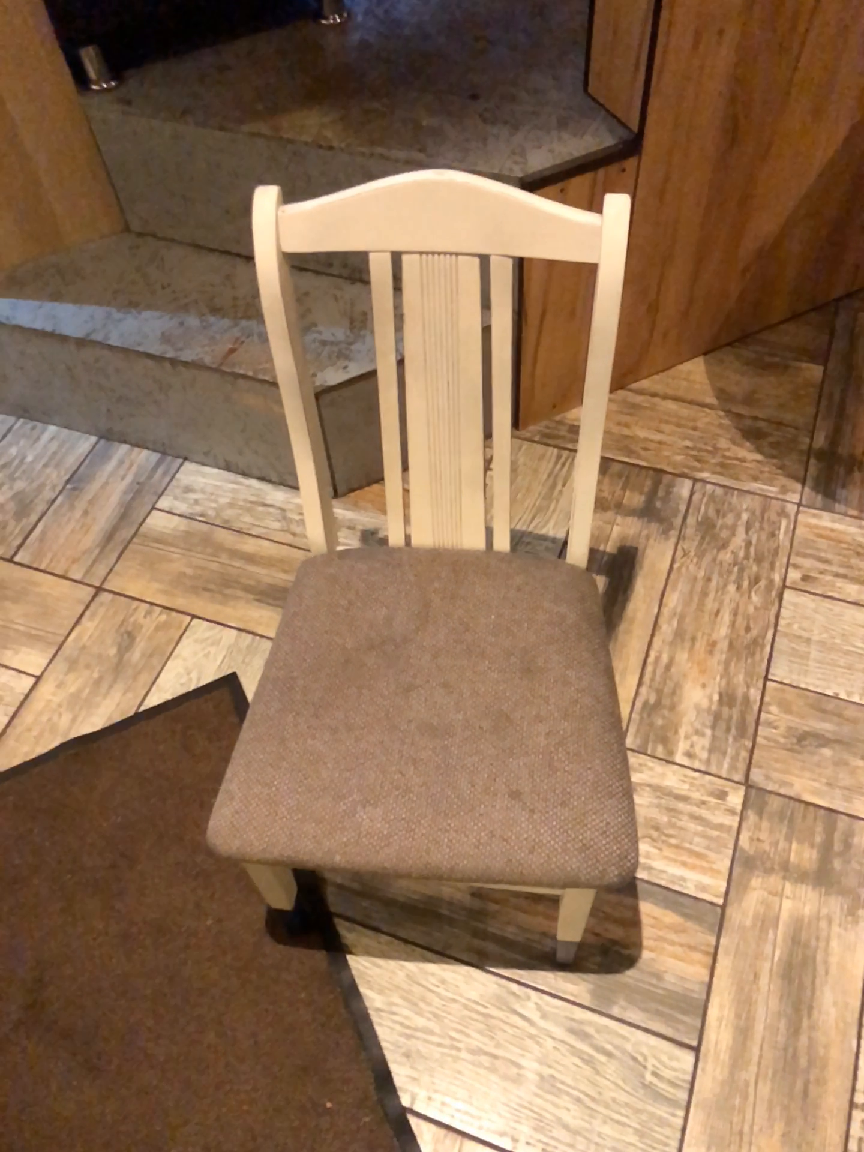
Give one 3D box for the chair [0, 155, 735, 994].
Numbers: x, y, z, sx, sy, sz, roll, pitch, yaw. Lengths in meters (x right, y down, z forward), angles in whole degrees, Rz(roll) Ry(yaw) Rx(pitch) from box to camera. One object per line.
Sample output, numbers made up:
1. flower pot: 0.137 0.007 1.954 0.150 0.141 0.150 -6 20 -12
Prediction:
1. chair: -0.006 0.084 1.106 0.478 0.917 0.521 3 54 6
